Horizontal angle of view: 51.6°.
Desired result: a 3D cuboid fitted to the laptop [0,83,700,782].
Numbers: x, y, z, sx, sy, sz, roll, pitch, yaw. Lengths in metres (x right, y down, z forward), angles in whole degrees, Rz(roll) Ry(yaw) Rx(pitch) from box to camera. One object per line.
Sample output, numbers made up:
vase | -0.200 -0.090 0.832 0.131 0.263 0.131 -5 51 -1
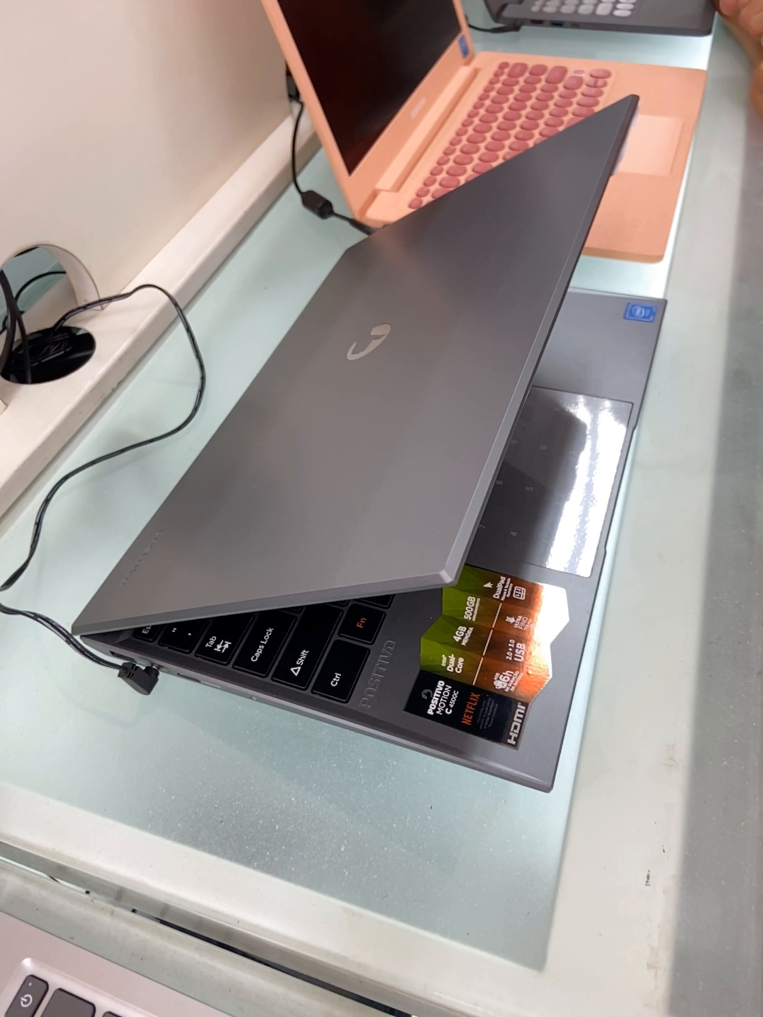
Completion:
laptop | 0.015 -0.077 0.388 0.210 0.113 0.335 14 51 17
